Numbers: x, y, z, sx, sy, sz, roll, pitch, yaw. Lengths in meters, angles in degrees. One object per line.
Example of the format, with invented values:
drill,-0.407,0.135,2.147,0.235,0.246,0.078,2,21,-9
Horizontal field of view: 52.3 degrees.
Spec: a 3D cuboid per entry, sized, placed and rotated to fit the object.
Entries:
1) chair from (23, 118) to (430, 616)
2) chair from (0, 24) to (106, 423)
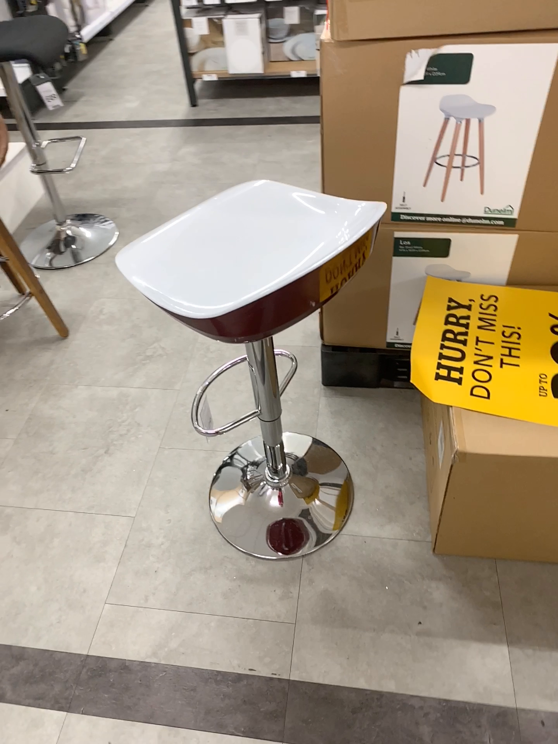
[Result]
chair,-0.052,0.013,1.157,0.454,0.797,0.445,31,56,32
chair,-1.082,-0.450,1.762,0.523,0.926,0.648,17,49,22
